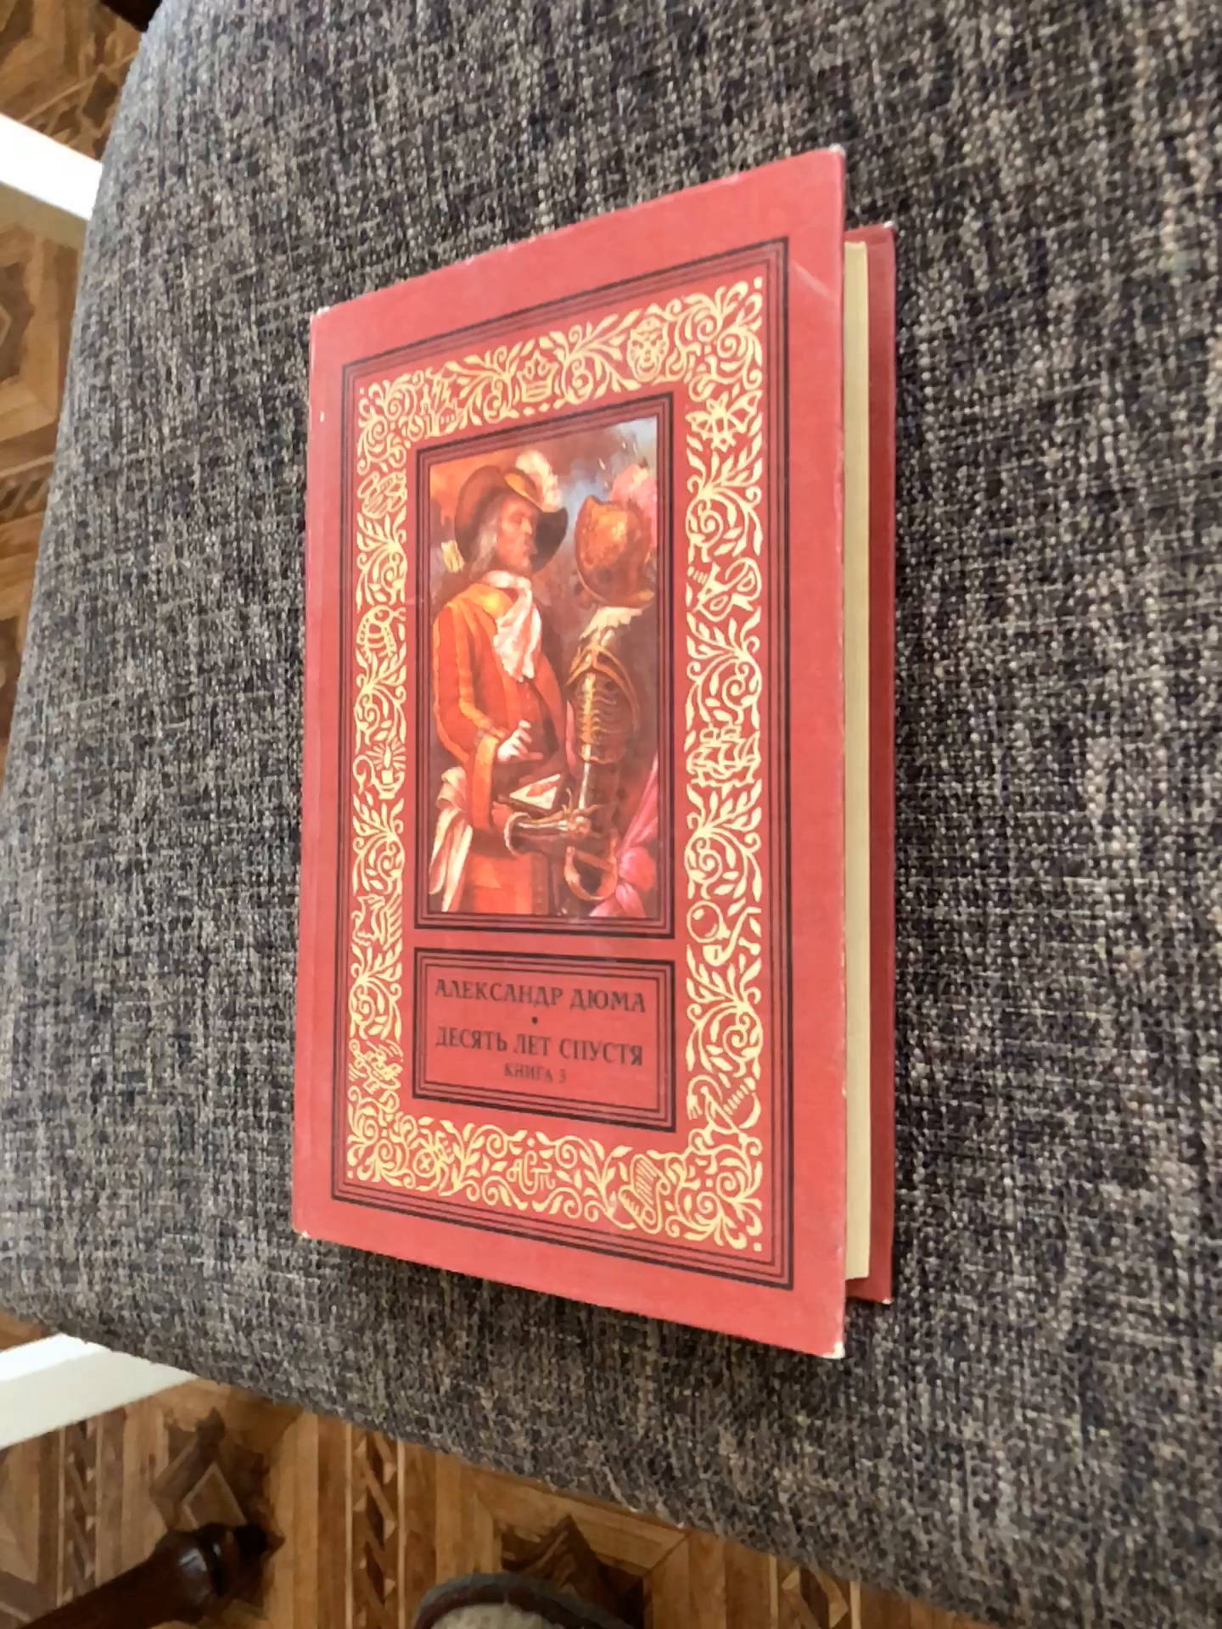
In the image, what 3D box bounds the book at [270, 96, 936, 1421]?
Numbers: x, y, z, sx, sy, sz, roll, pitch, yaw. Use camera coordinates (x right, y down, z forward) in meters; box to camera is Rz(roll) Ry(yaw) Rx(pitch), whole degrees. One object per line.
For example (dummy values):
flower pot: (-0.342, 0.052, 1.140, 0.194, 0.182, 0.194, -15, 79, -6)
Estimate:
book: (-0.007, -0.009, 0.263, 0.132, 0.038, 0.206, -1, 87, 36)
